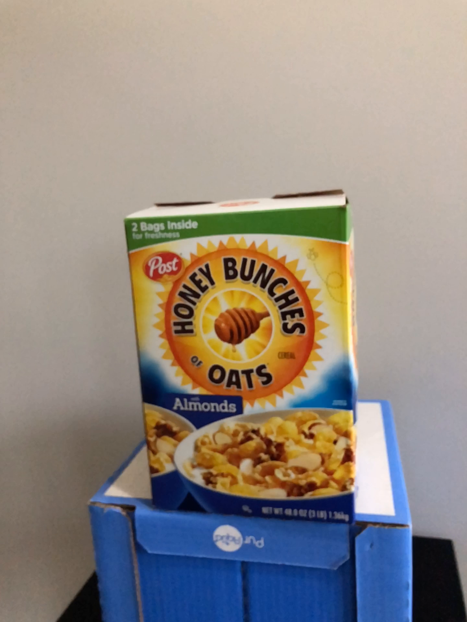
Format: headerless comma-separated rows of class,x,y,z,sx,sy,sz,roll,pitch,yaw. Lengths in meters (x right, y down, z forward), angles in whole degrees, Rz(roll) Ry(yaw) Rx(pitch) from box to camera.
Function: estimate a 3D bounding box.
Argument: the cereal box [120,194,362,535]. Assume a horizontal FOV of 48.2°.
cereal box,0.025,0.040,0.536,0.200,0.299,0.150,-1,11,14
